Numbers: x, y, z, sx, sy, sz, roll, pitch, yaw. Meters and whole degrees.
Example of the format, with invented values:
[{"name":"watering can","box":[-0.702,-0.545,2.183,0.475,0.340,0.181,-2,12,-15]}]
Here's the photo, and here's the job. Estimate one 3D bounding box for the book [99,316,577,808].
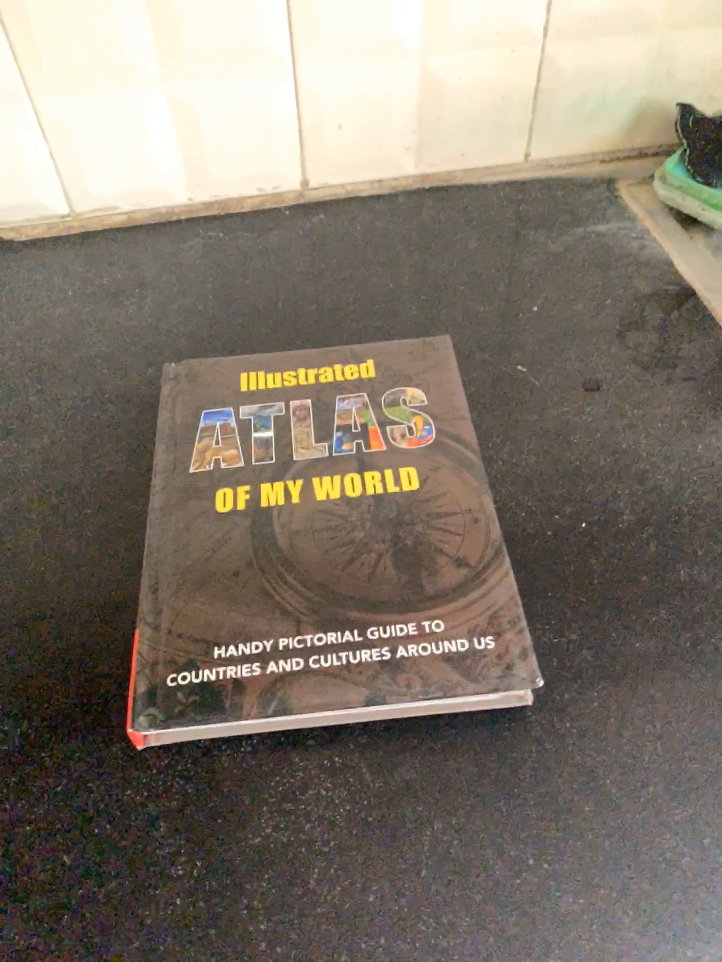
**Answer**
[{"name":"book","box":[-0.022,0.020,0.410,0.200,0.040,0.272,-6,51,-2]}]
